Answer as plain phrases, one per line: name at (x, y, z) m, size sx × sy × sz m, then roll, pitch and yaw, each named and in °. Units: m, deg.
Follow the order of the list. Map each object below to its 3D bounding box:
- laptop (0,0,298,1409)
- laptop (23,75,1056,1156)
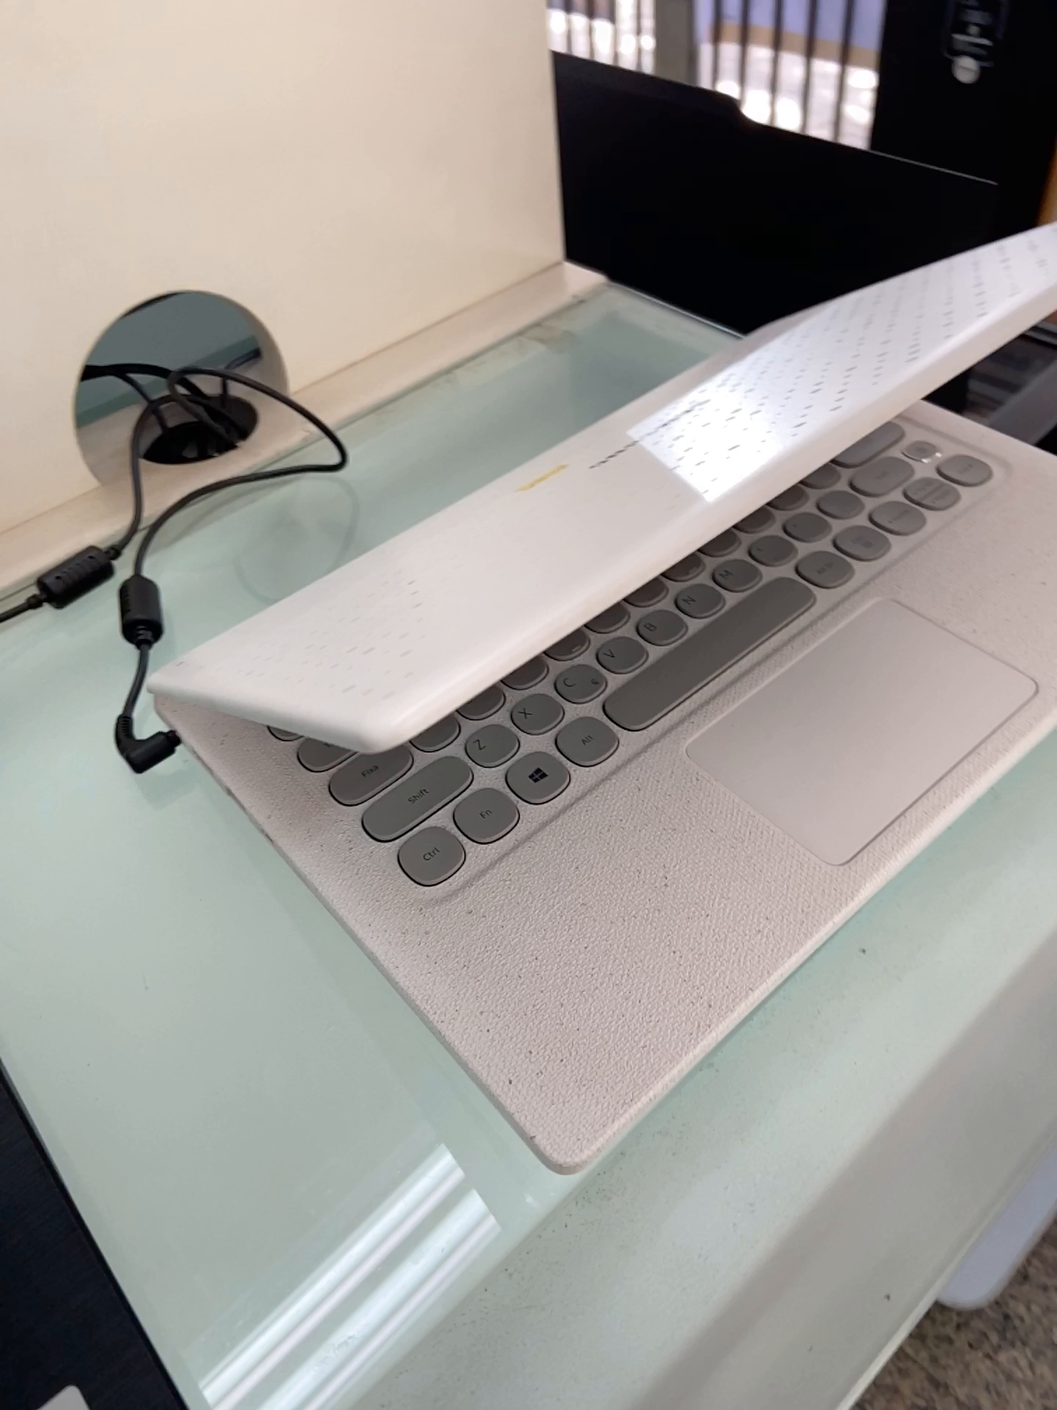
laptop at (-0.322, 0.097, 0.144) m, size 0.401 × 0.213 × 0.374 m, roll -33°, pitch 51°, yaw -23°
laptop at (0.055, -0.068, 0.334) m, size 0.312 × 0.108 × 0.206 m, roll -34°, pitch 52°, yaw -23°
